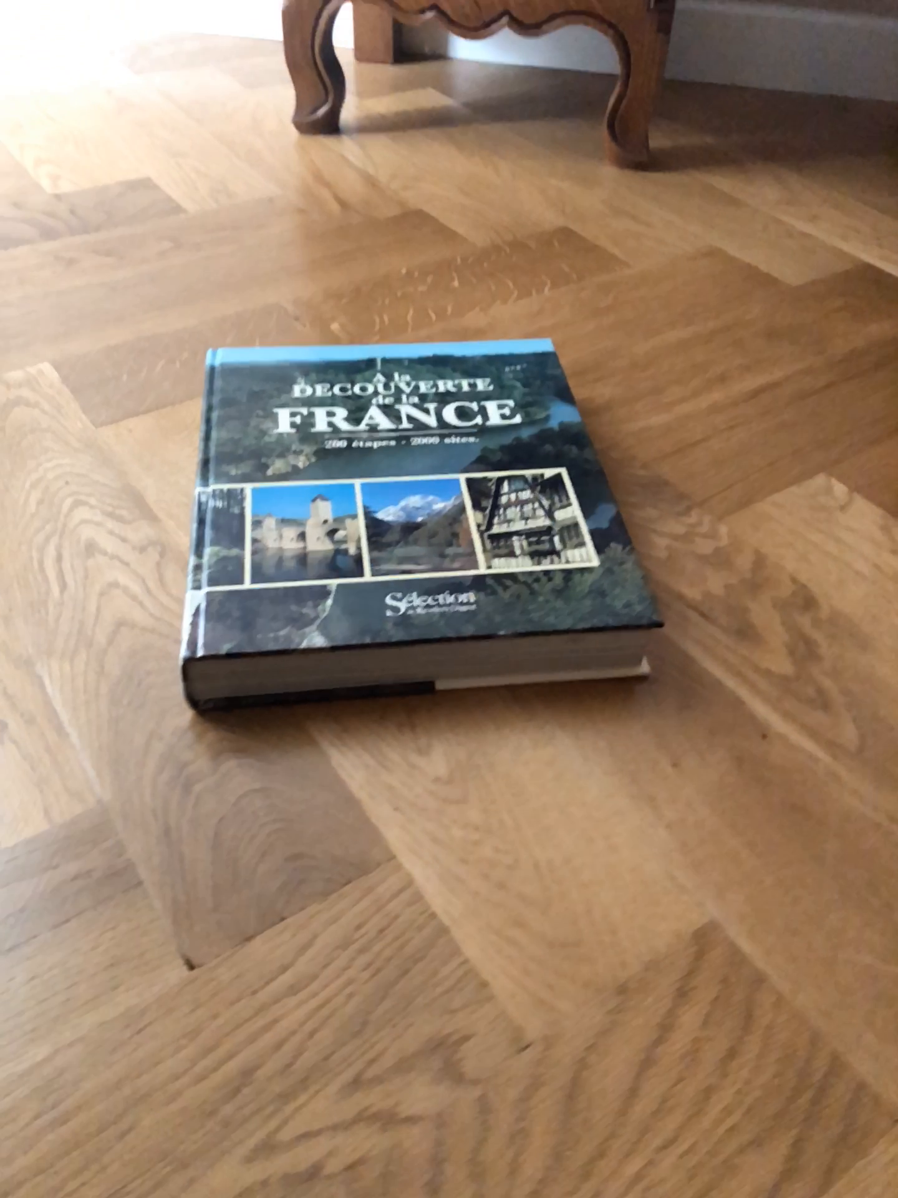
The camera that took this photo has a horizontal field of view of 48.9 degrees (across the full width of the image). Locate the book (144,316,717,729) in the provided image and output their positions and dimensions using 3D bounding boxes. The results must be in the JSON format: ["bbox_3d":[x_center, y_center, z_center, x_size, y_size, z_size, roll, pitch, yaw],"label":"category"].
[{"bbox_3d":[-0.023,-0.065,0.546,0.250,0.040,0.291,-4,44,-7],"label":"book"}]
